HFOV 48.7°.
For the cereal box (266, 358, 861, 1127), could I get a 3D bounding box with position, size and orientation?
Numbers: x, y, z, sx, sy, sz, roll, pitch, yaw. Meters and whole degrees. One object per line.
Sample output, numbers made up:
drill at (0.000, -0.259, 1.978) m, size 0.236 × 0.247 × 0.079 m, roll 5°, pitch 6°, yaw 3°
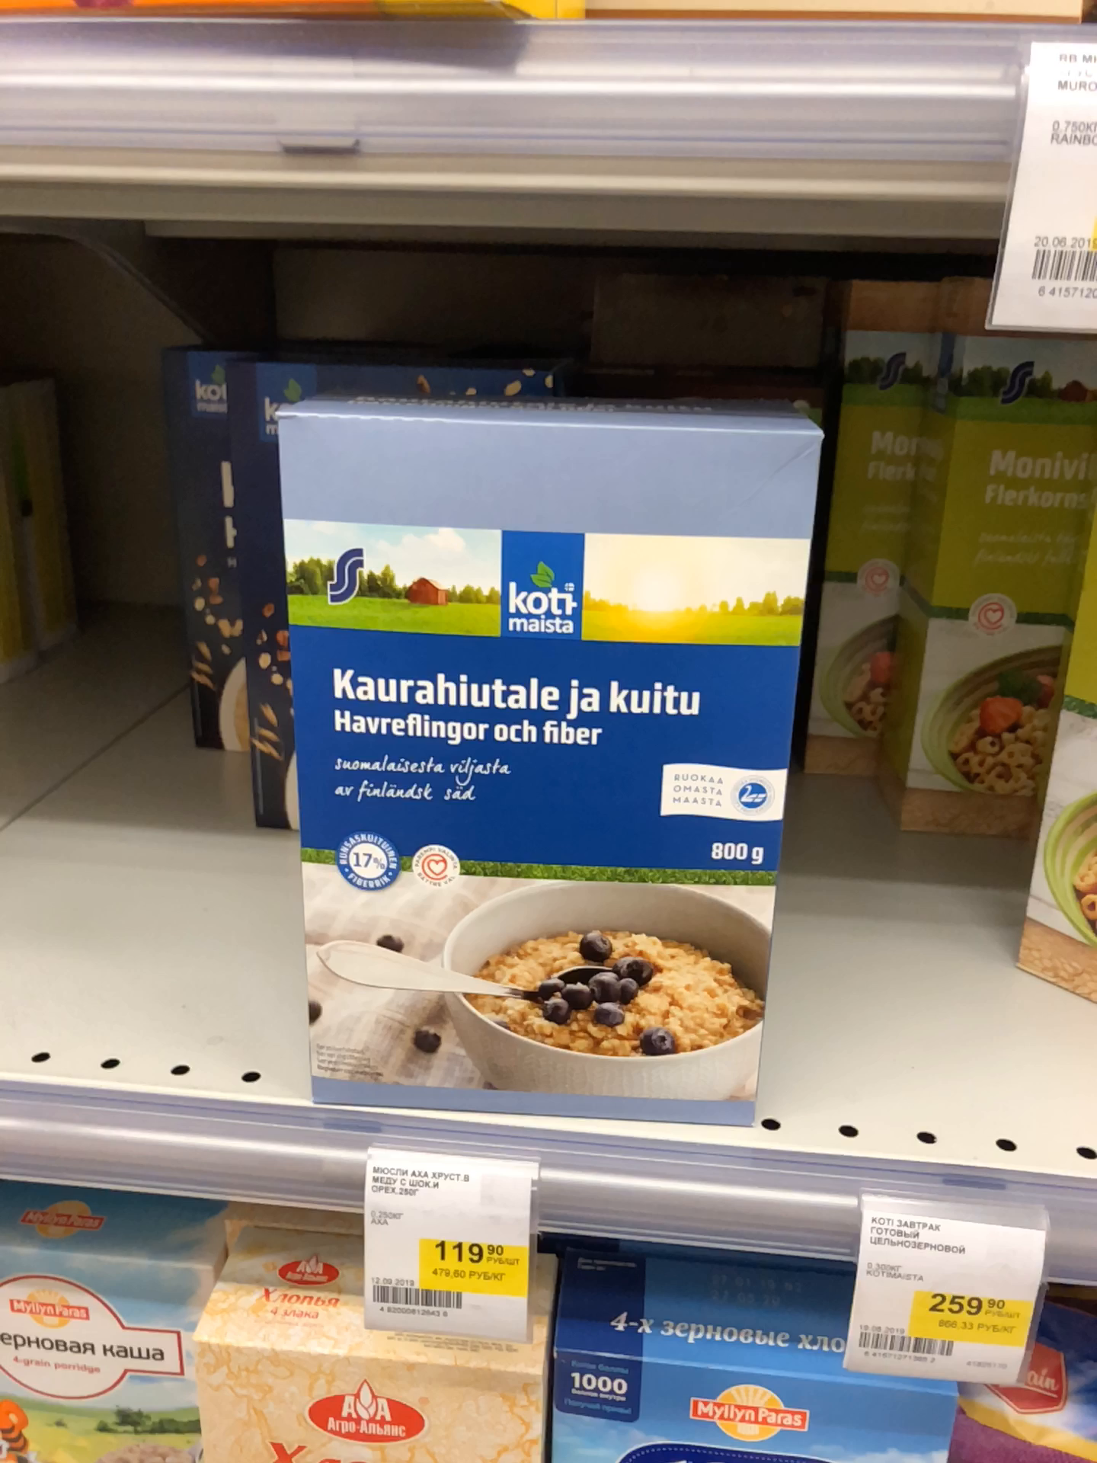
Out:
cereal box at (0.002, 0.002, 0.379) m, size 0.150 × 0.219 × 0.080 m, roll 3°, pitch 20°, yaw 2°
